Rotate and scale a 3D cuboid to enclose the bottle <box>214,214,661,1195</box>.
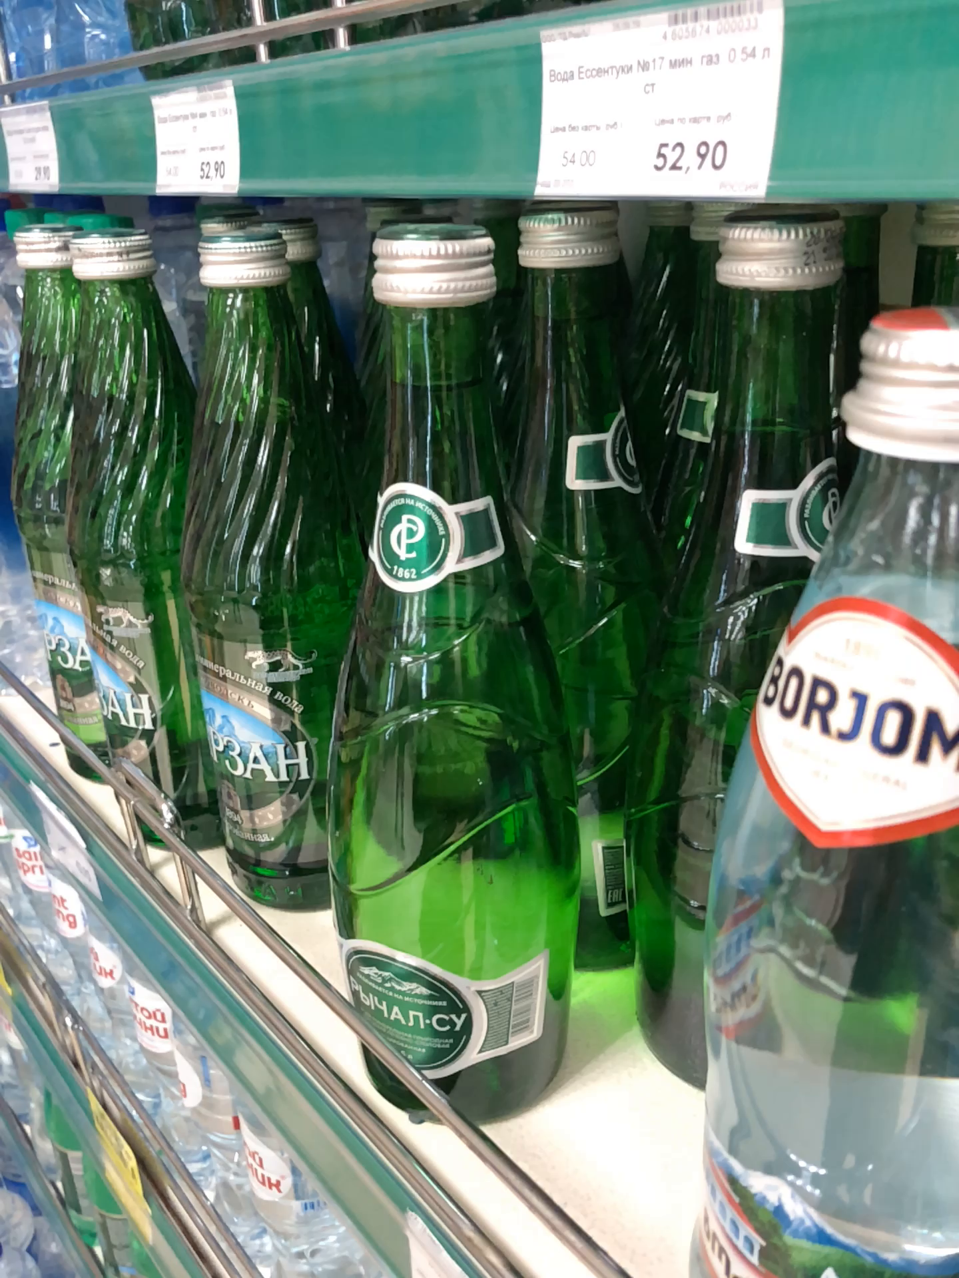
[{"bbox_3d":[-0.002,0.022,0.299,0.080,0.259,0.070,10,27,26],"label":"bottle"}]
